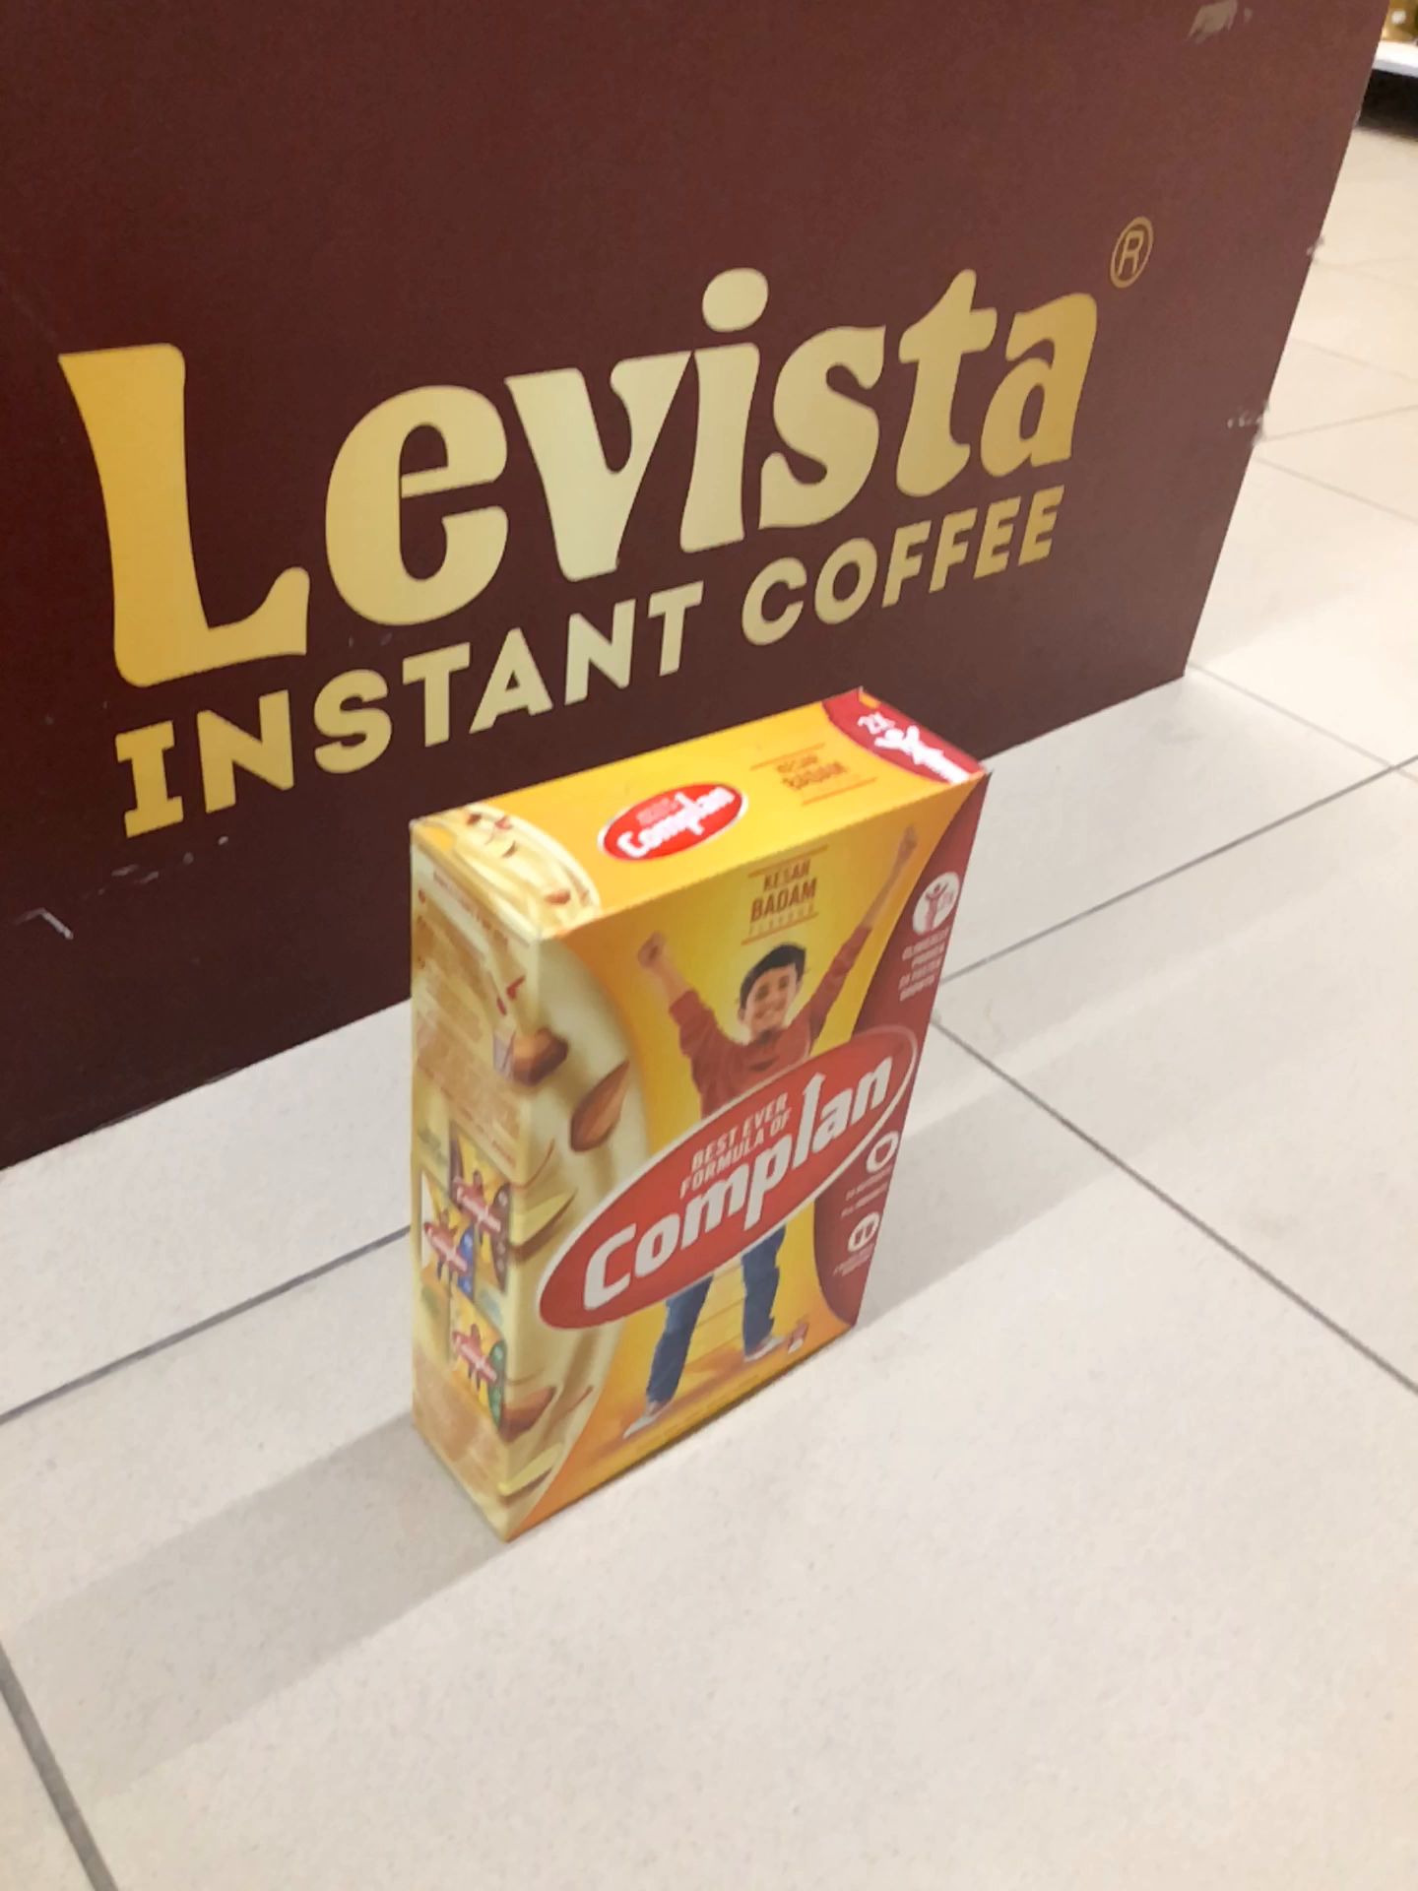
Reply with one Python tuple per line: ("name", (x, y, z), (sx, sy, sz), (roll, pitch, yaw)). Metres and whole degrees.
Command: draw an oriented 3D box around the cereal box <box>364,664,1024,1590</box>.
("cereal box", (-0.009, 0.051, 0.427), (0.151, 0.218, 0.060), (-22, 45, -34))
